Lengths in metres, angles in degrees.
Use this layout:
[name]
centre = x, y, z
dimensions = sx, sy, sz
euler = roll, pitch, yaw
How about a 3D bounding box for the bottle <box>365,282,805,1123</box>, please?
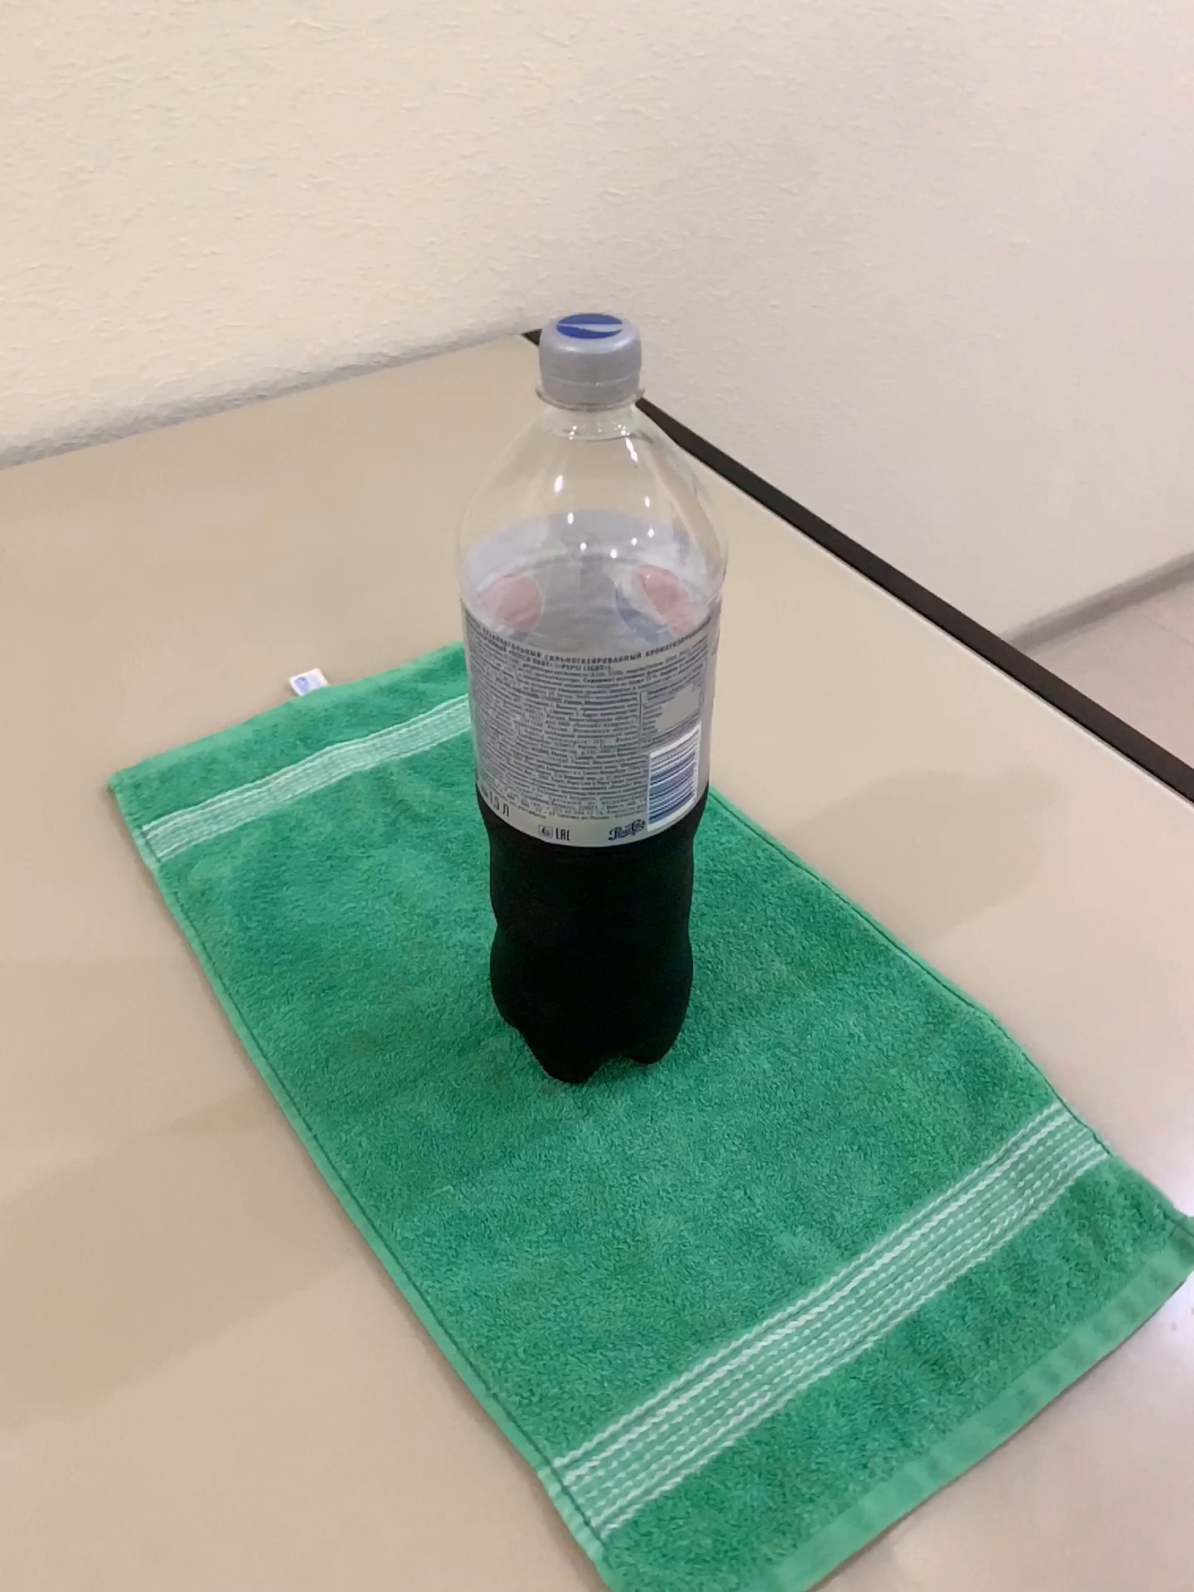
[bottle]
centre = 0.000, -0.016, 0.458
dimensions = 0.100, 0.298, 0.101
euler = 0, 43, 0
